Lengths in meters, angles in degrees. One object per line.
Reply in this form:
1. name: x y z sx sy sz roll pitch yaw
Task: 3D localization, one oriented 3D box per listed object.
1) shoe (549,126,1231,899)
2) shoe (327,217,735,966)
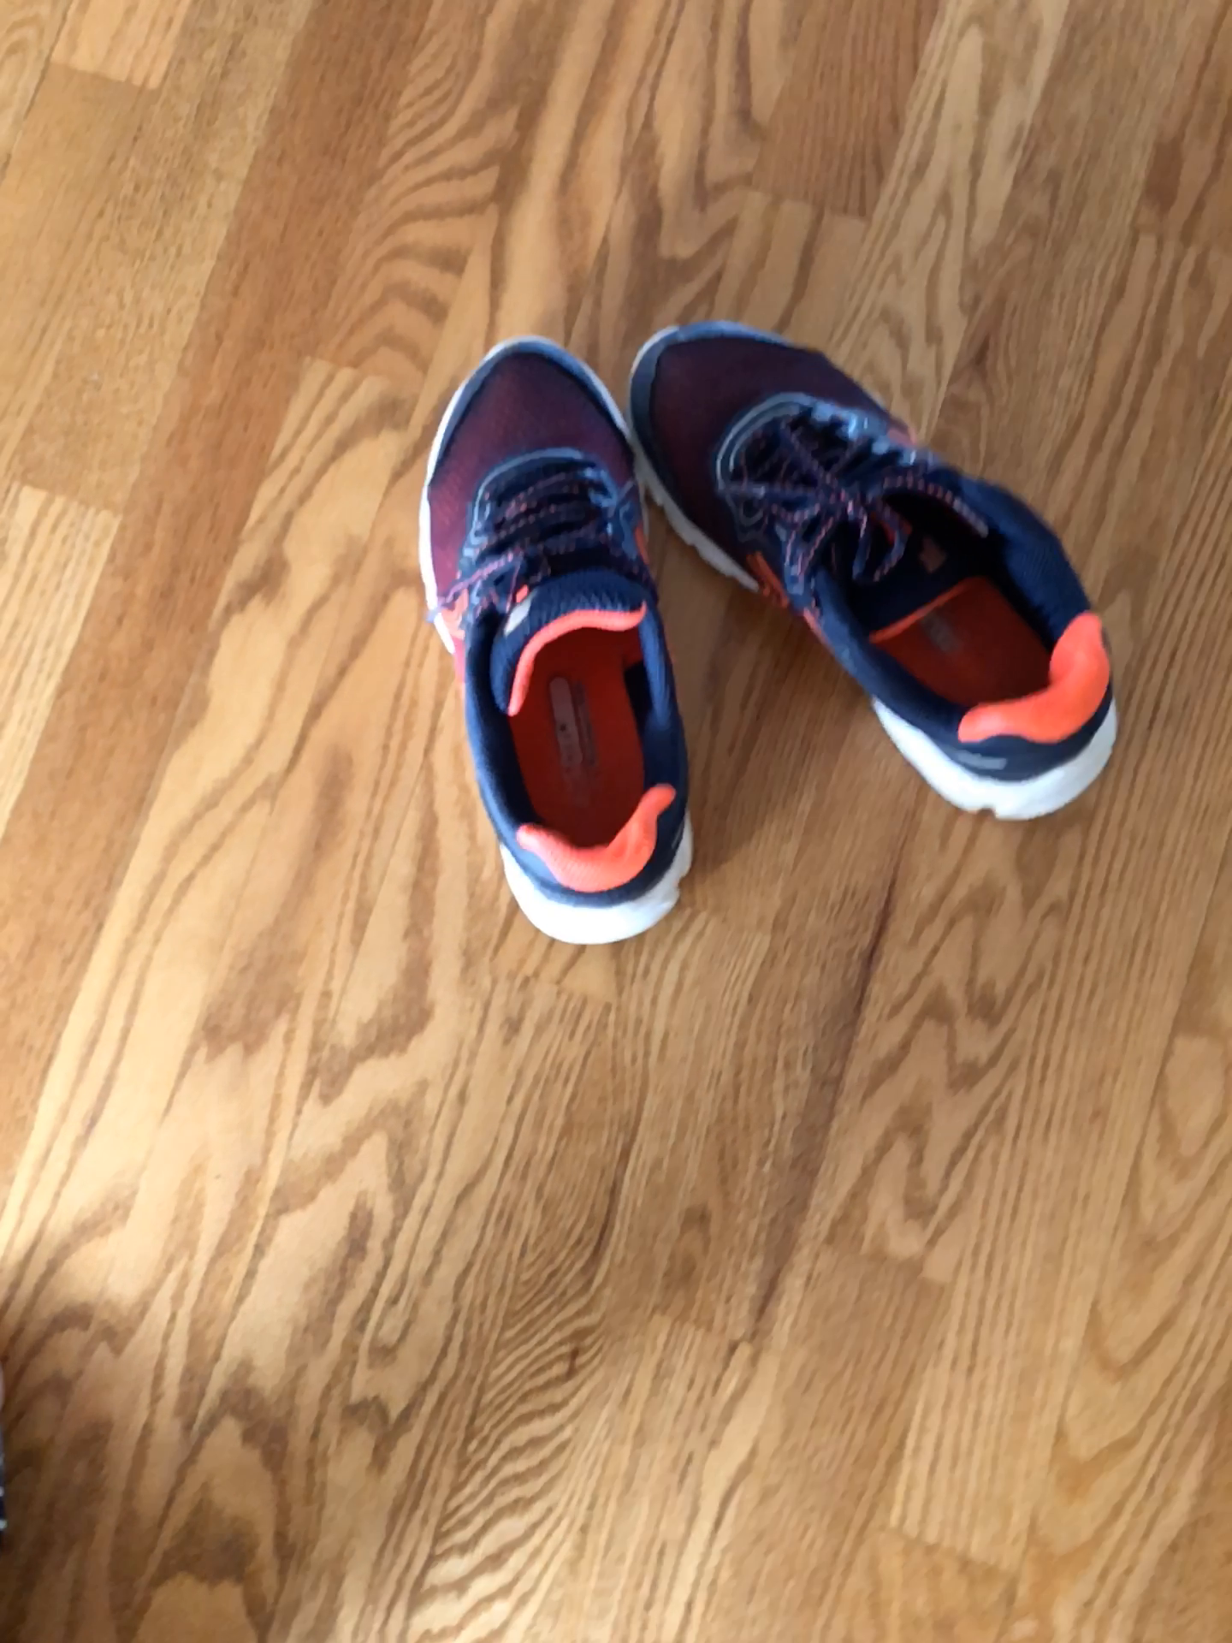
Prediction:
1. shoe: 0.107 -0.117 0.558 0.116 0.110 0.277 -37 82 -1
2. shoe: -0.032 -0.084 0.563 0.108 0.110 0.270 -11 82 2
